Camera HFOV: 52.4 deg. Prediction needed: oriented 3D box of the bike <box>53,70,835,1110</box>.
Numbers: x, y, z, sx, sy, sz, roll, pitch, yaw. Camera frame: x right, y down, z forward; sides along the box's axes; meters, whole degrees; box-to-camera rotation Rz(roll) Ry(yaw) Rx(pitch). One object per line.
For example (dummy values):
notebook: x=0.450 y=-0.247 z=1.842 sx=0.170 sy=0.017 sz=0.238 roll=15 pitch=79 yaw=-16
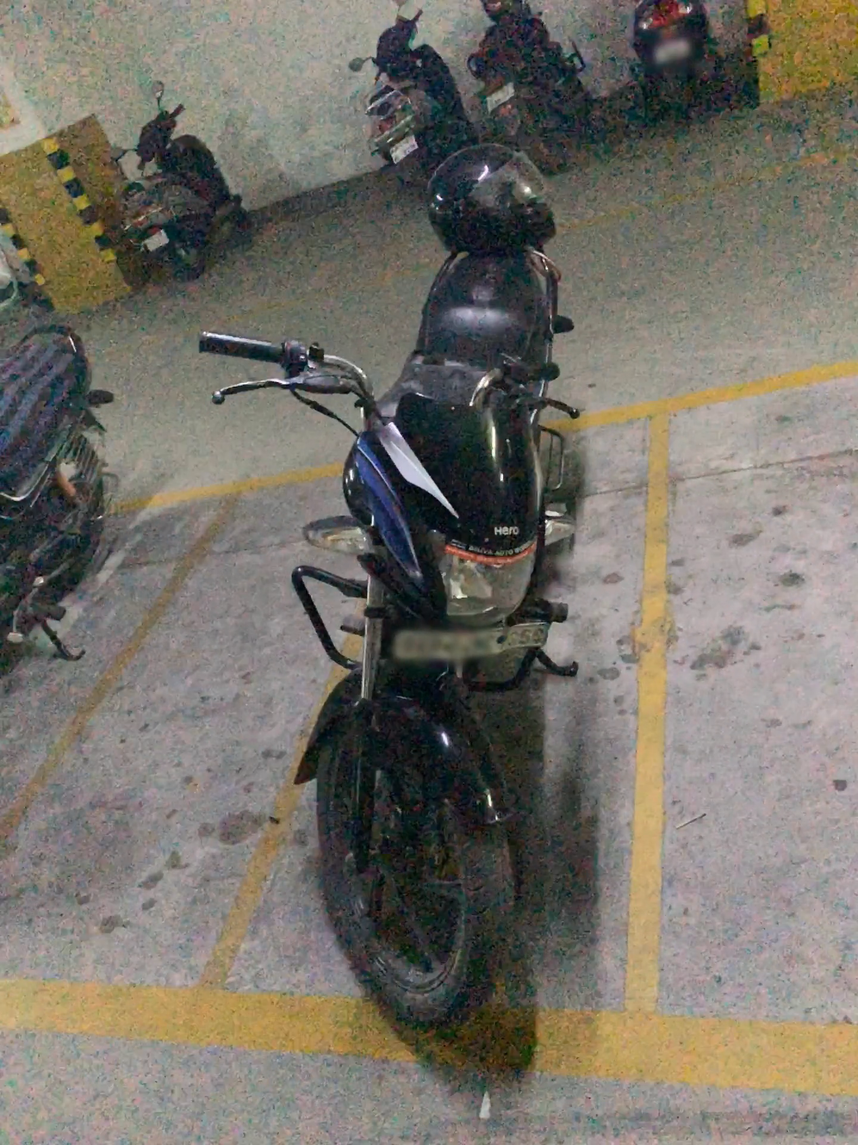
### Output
bike: x=0.171 y=-0.109 z=1.853 sx=0.768 sy=1.156 sz=1.723 roll=-12 pitch=37 yaw=17
